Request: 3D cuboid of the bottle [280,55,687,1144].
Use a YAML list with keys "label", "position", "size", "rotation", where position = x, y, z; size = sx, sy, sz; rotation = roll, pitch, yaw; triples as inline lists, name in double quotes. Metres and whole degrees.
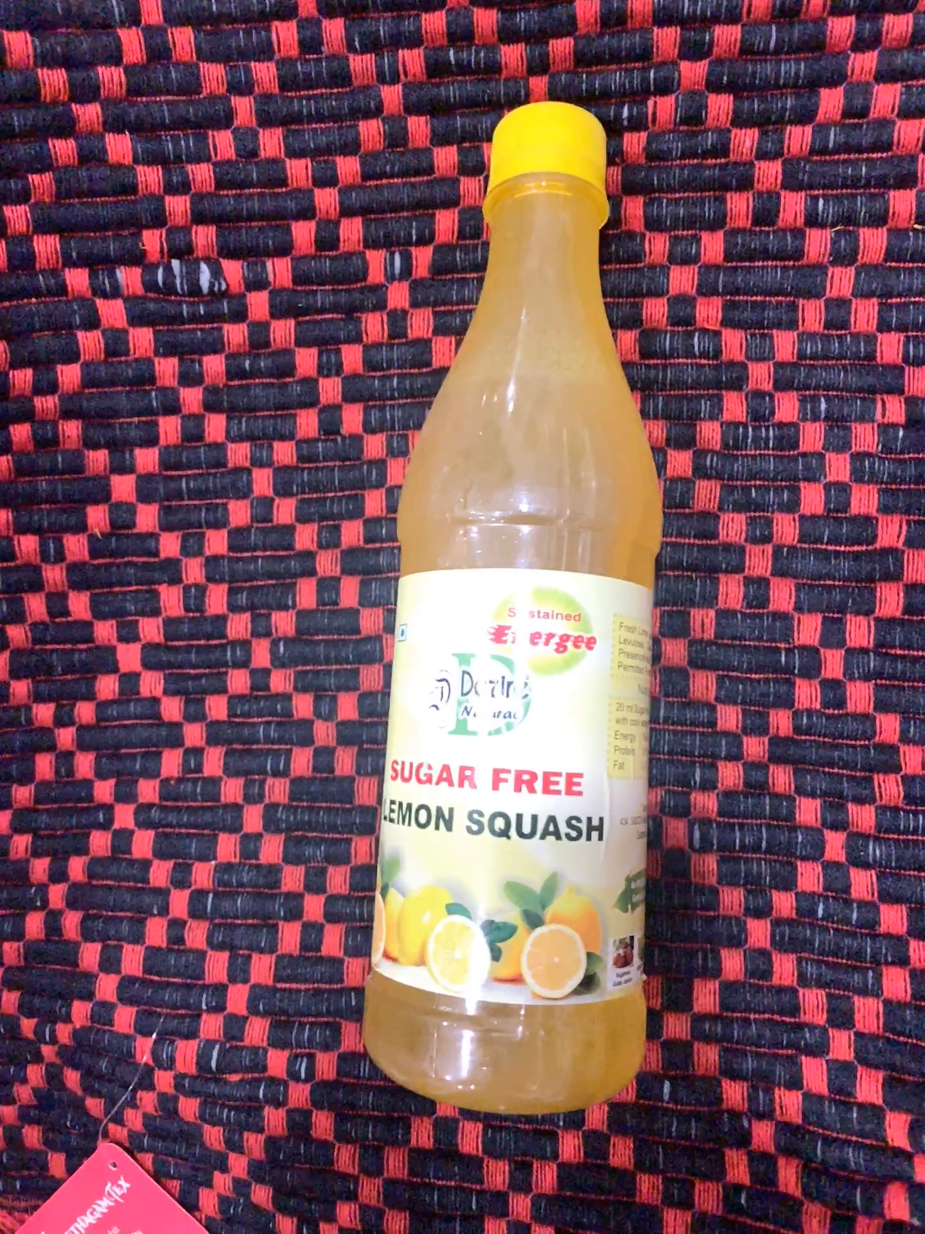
- label: "bottle"
  position: [0.013, -0.012, 0.231]
  size: [0.070, 0.060, 0.230]
  rotation: [3, 78, 10]
